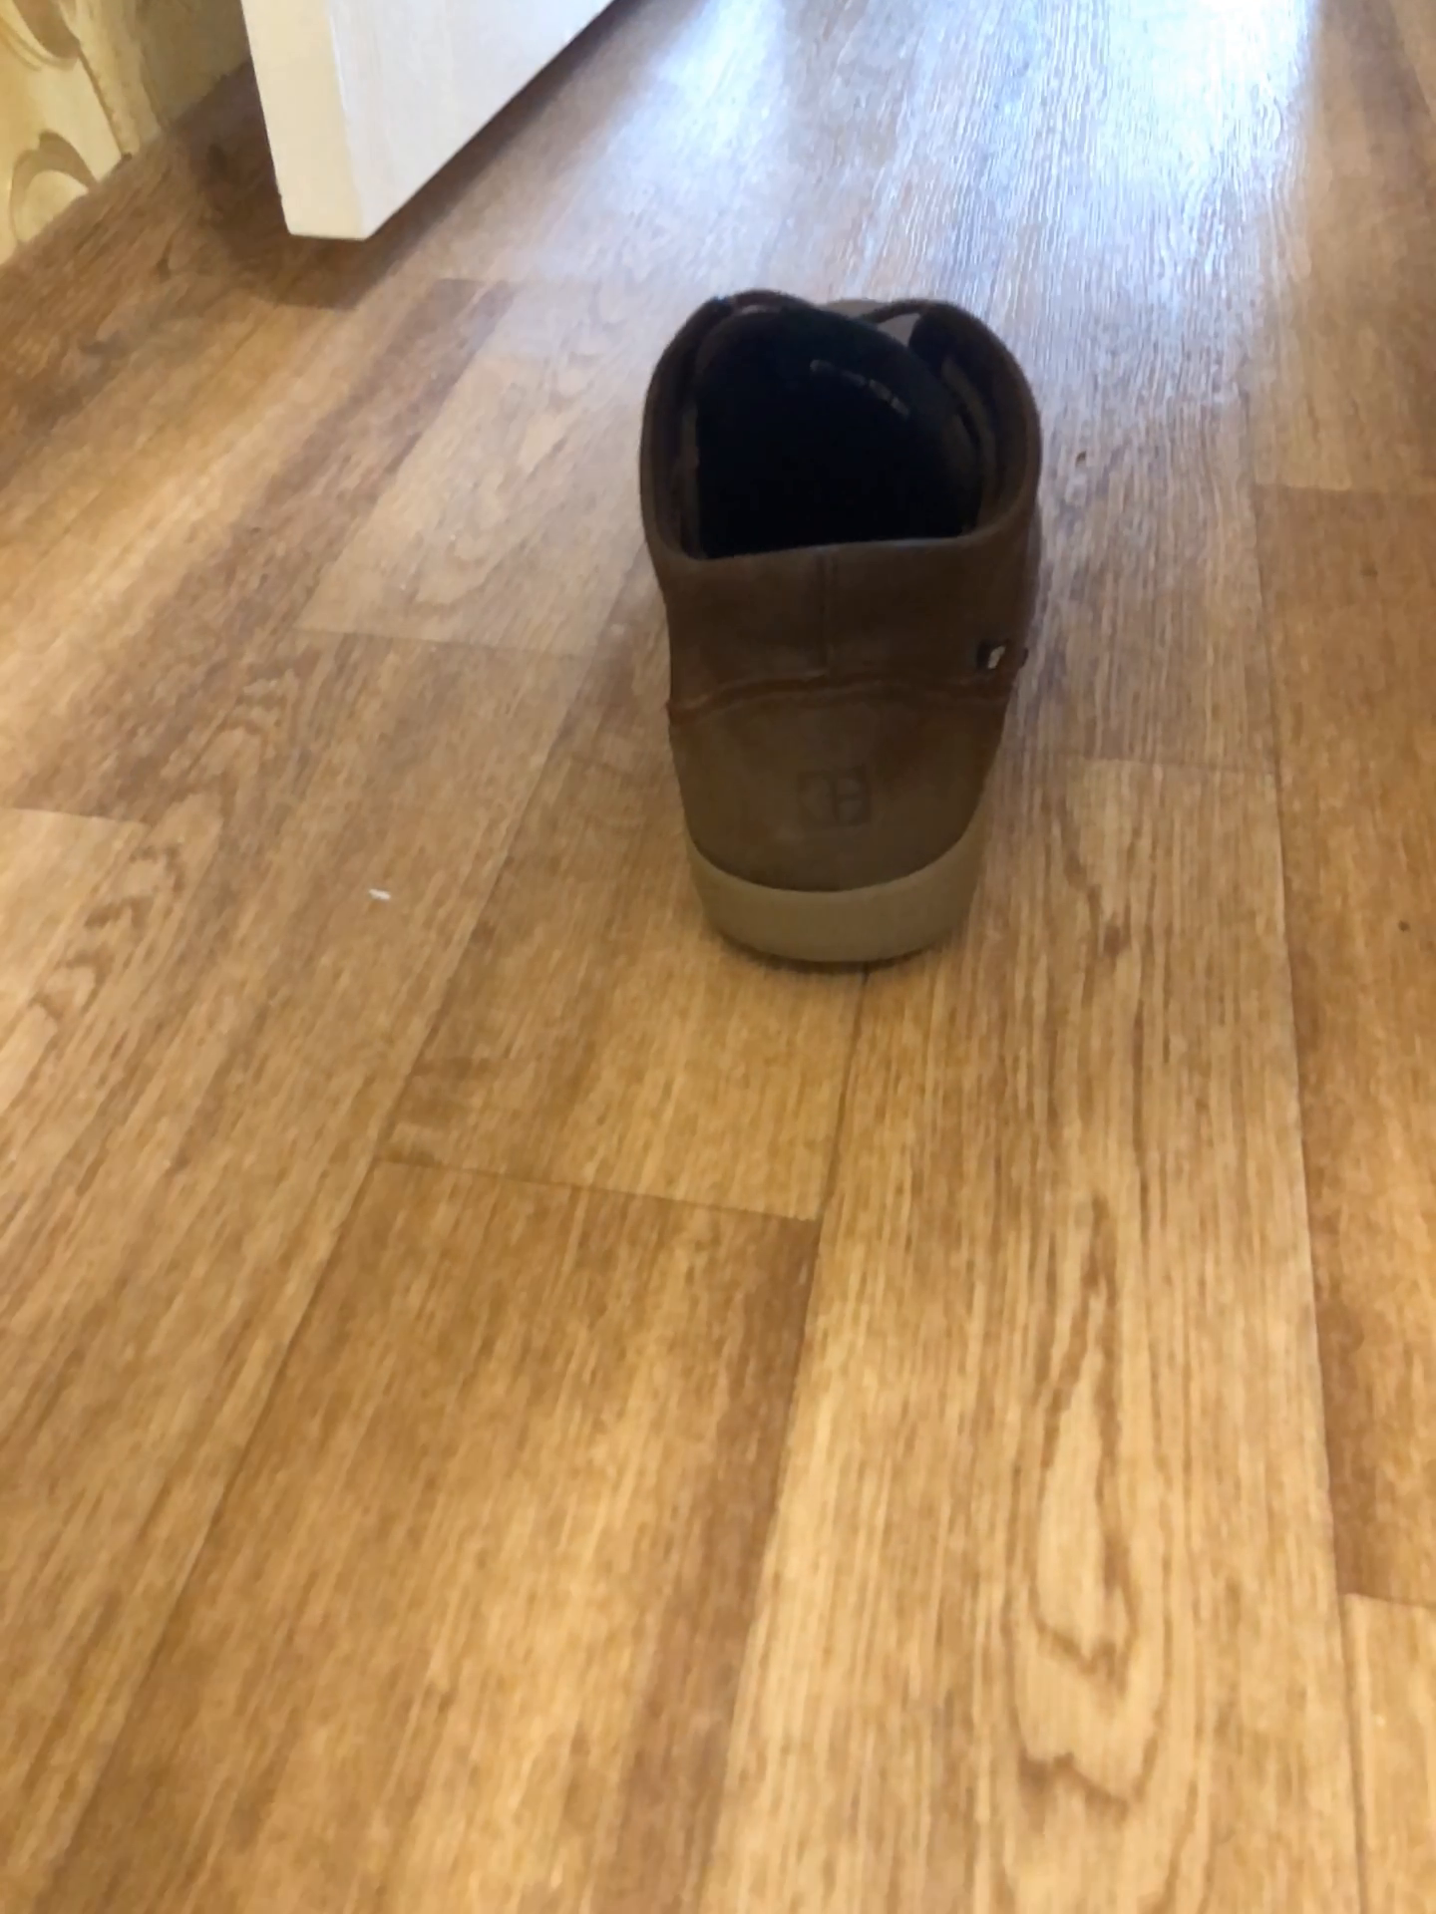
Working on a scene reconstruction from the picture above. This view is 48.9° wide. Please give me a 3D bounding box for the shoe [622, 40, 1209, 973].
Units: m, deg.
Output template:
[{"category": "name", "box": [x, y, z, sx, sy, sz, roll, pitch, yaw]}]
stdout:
[{"category": "shoe", "box": [0.048, -0.134, 0.404, 0.100, 0.110, 0.271, 4, 45, 5]}]
